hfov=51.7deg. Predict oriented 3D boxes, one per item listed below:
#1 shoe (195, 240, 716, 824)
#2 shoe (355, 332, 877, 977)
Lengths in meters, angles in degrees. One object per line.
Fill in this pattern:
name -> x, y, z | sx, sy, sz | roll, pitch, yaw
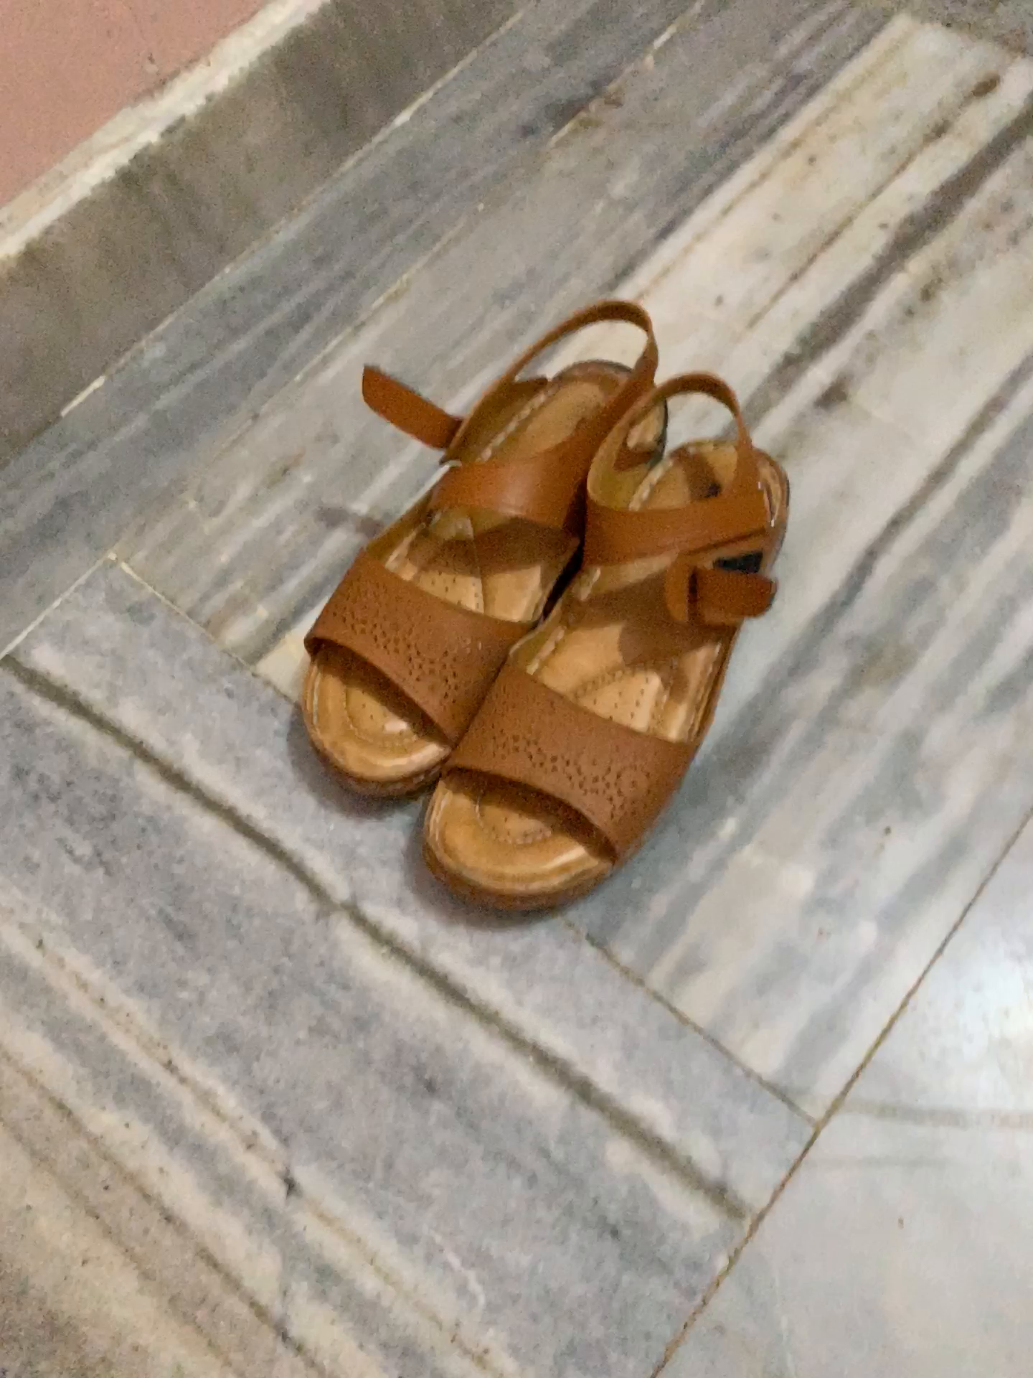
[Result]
shoe -> -0.016, -0.075, 0.500 | 0.090, 0.100, 0.249 | 32, 72, 19
shoe -> 0.051, -0.018, 0.469 | 0.090, 0.100, 0.255 | 28, 71, 18
